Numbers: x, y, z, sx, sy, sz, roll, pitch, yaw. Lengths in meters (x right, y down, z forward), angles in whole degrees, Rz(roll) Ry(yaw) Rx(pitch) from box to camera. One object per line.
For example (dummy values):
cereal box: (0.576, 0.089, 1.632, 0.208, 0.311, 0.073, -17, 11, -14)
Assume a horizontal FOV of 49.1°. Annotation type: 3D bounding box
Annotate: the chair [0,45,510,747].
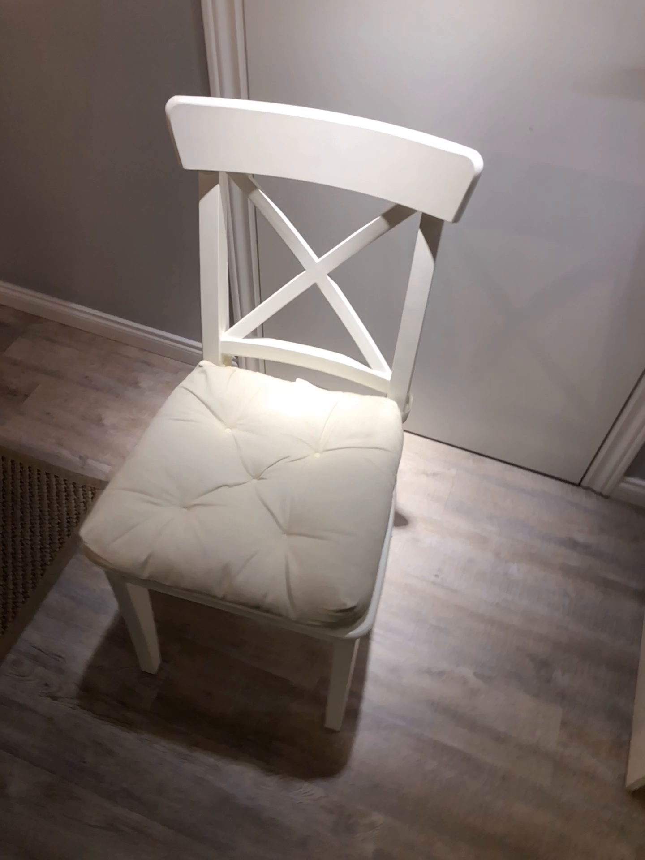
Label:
chair: (-0.078, 0.031, 1.044, 0.450, 0.875, 0.512, 13, 53, 8)
